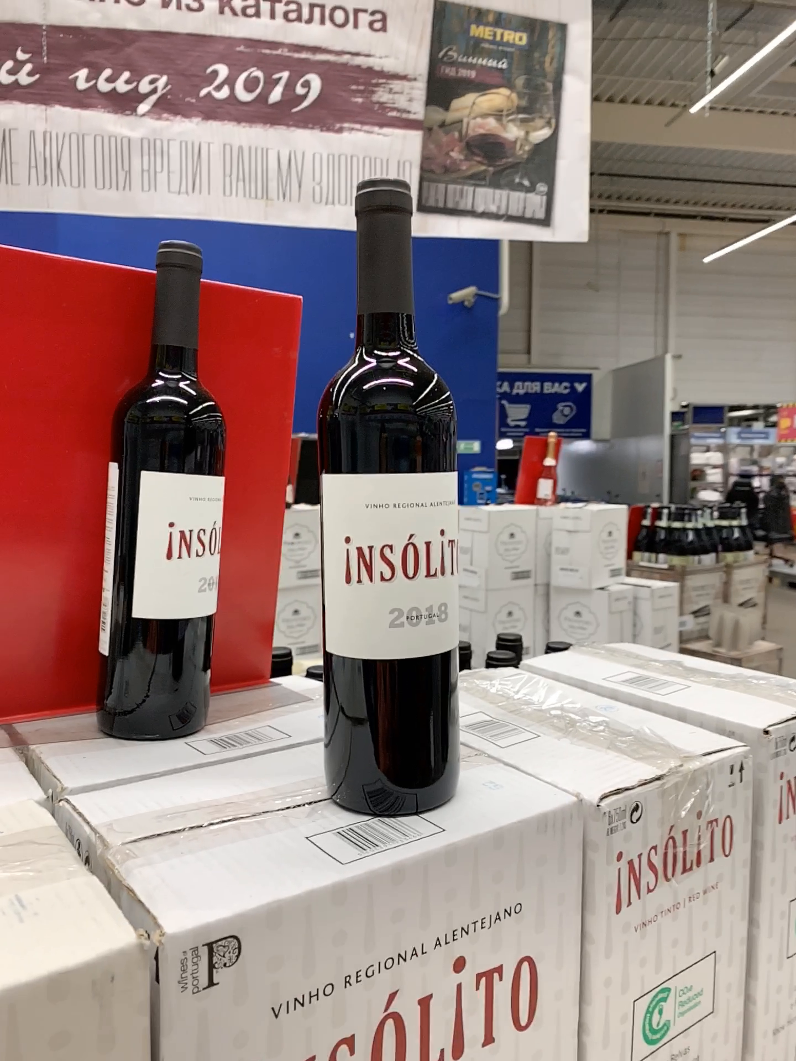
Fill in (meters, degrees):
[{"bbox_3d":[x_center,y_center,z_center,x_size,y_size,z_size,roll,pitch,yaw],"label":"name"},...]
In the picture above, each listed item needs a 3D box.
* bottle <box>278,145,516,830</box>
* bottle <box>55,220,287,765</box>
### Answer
[{"bbox_3d":[-0.004,-0.020,0.432,0.090,0.310,0.090,1,3,0],"label":"bottle"},{"bbox_3d":[-0.150,-0.025,0.542,0.090,0.320,0.090,5,5,0],"label":"bottle"}]
